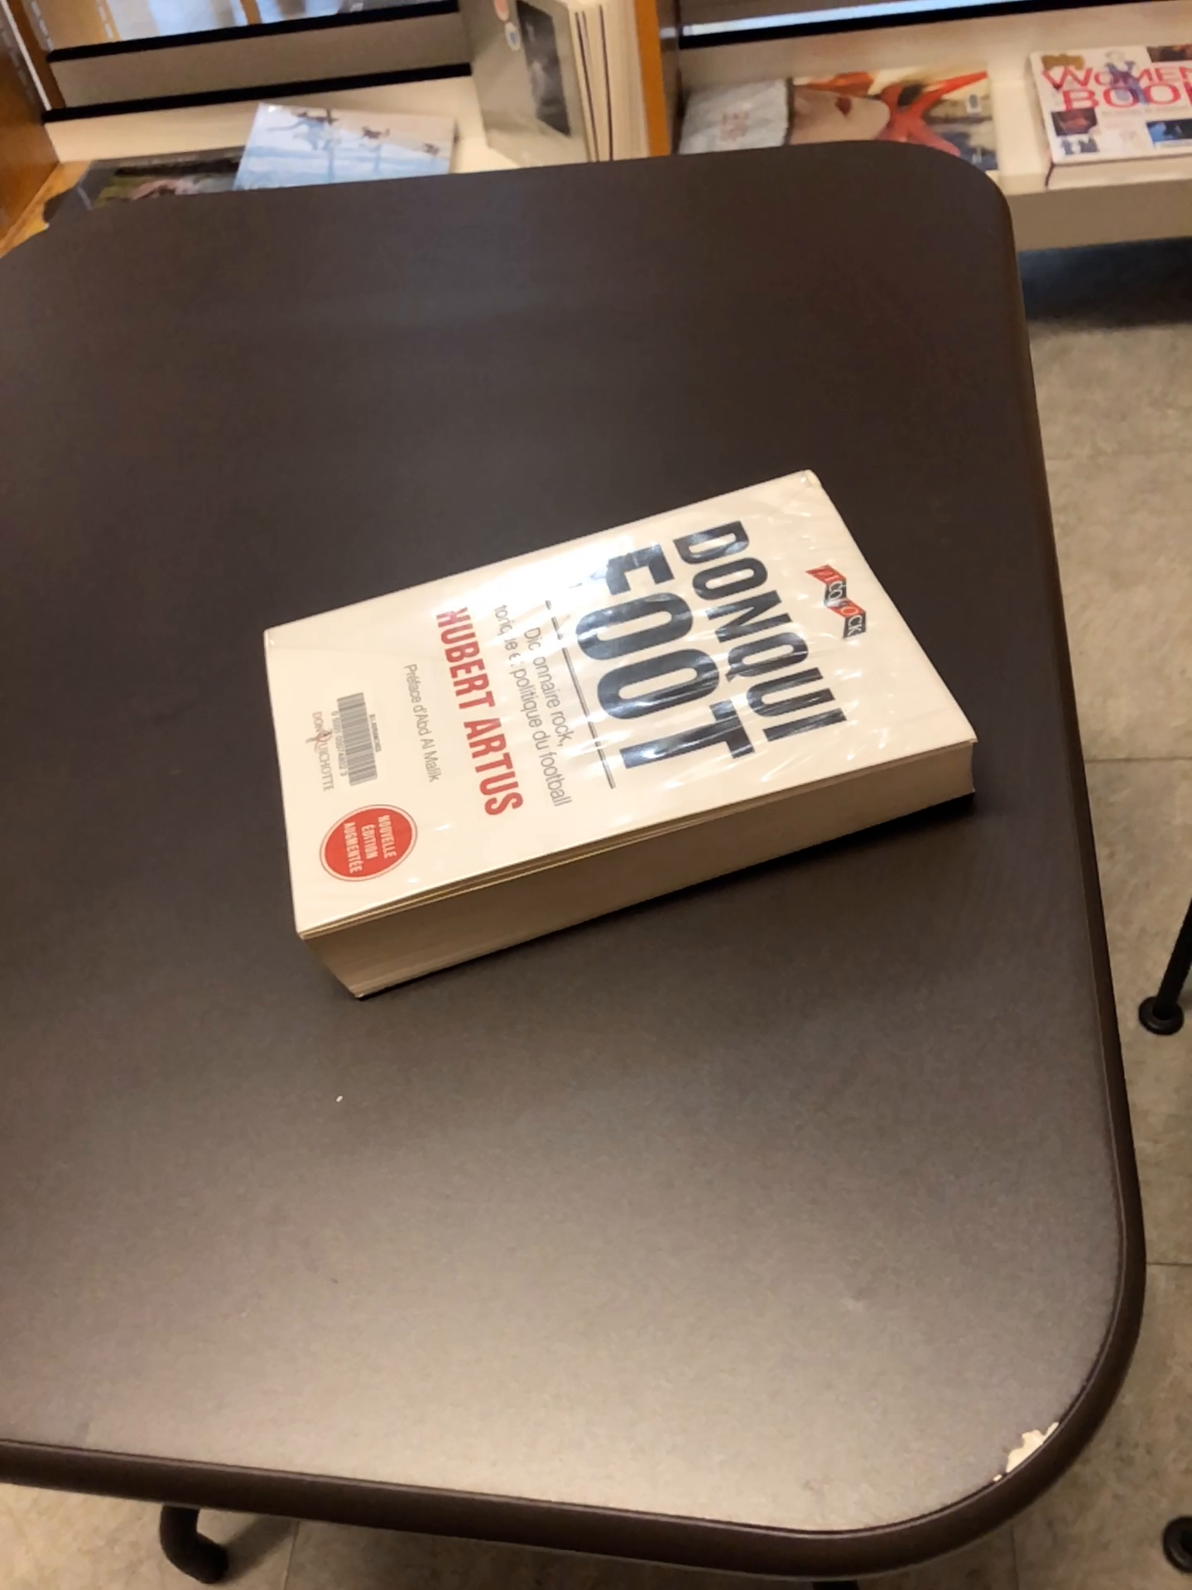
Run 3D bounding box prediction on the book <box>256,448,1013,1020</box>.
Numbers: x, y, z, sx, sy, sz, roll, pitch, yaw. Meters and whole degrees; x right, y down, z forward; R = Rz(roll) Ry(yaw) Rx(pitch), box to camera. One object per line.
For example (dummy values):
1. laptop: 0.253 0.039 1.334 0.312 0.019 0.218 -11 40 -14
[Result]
1. book: 0.003 -0.028 0.425 0.207 0.042 0.148 -16 48 -3
